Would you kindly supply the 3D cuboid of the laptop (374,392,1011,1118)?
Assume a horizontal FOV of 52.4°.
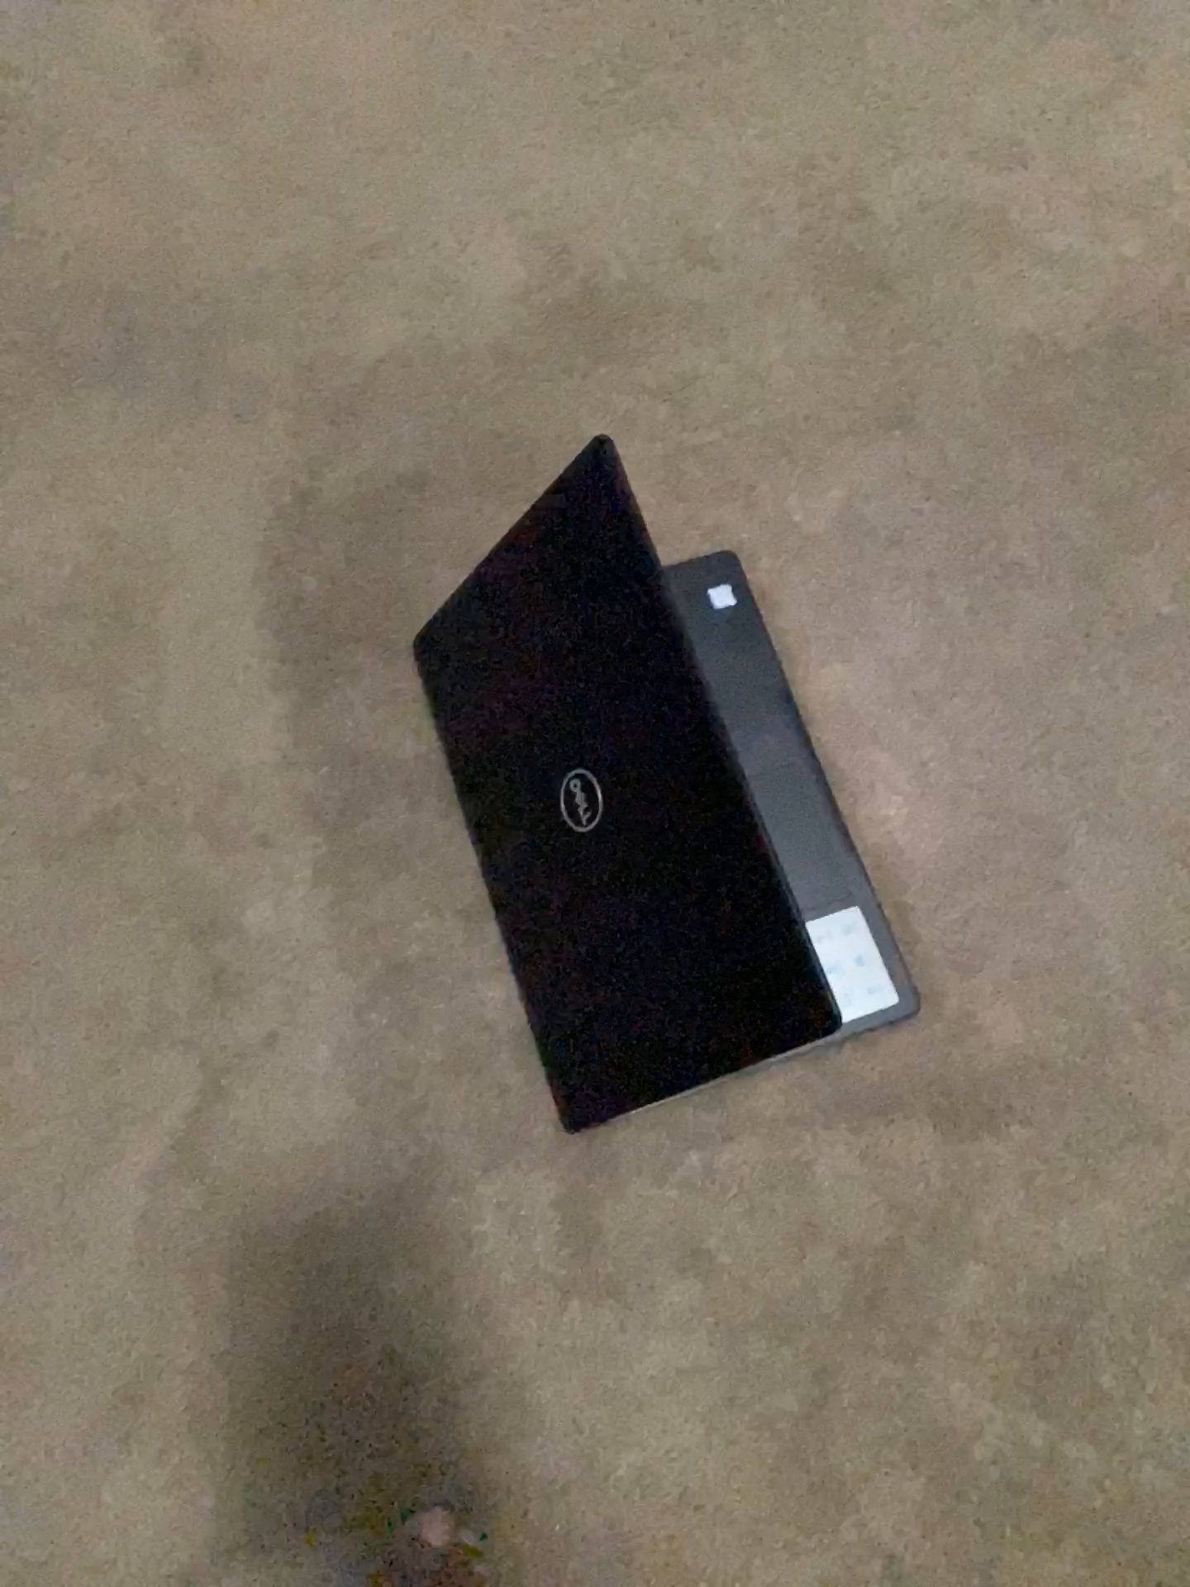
[{"bbox_3d":[0.044,-0.019,0.784,0.251,0.202,0.376,-17,73,-8],"label":"laptop"}]
